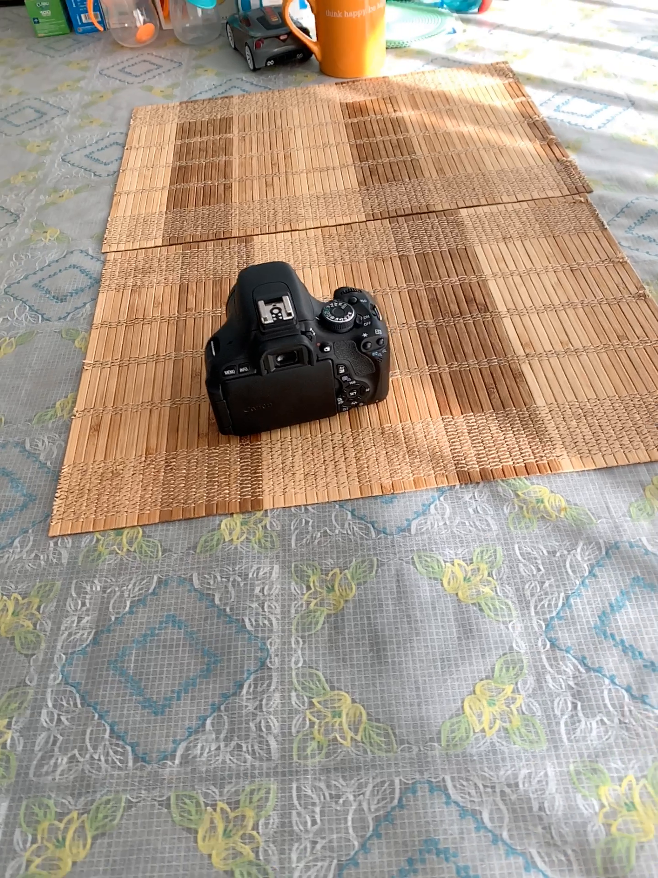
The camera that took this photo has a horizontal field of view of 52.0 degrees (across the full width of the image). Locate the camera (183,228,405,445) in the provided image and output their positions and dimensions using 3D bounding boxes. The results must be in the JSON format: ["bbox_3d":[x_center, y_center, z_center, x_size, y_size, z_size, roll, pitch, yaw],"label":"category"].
[{"bbox_3d":[-0.025,-0.075,0.485,0.133,0.080,0.106,-13,49,-5],"label":"camera"}]
